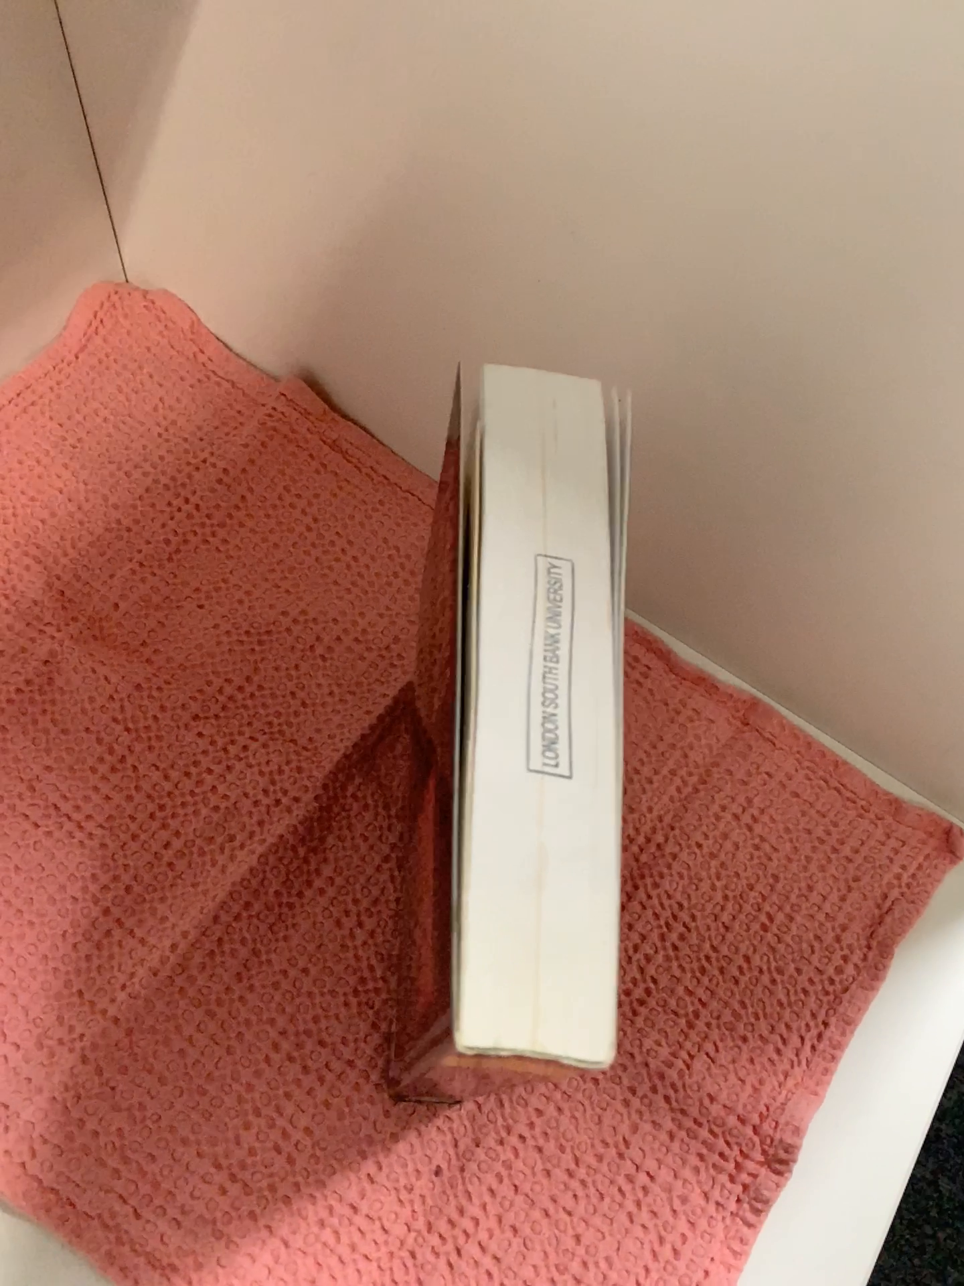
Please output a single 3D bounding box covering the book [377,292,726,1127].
[{"bbox_3d":[0.006,0.046,0.349,0.060,0.229,0.221,5,63,-7],"label":"book"}]
